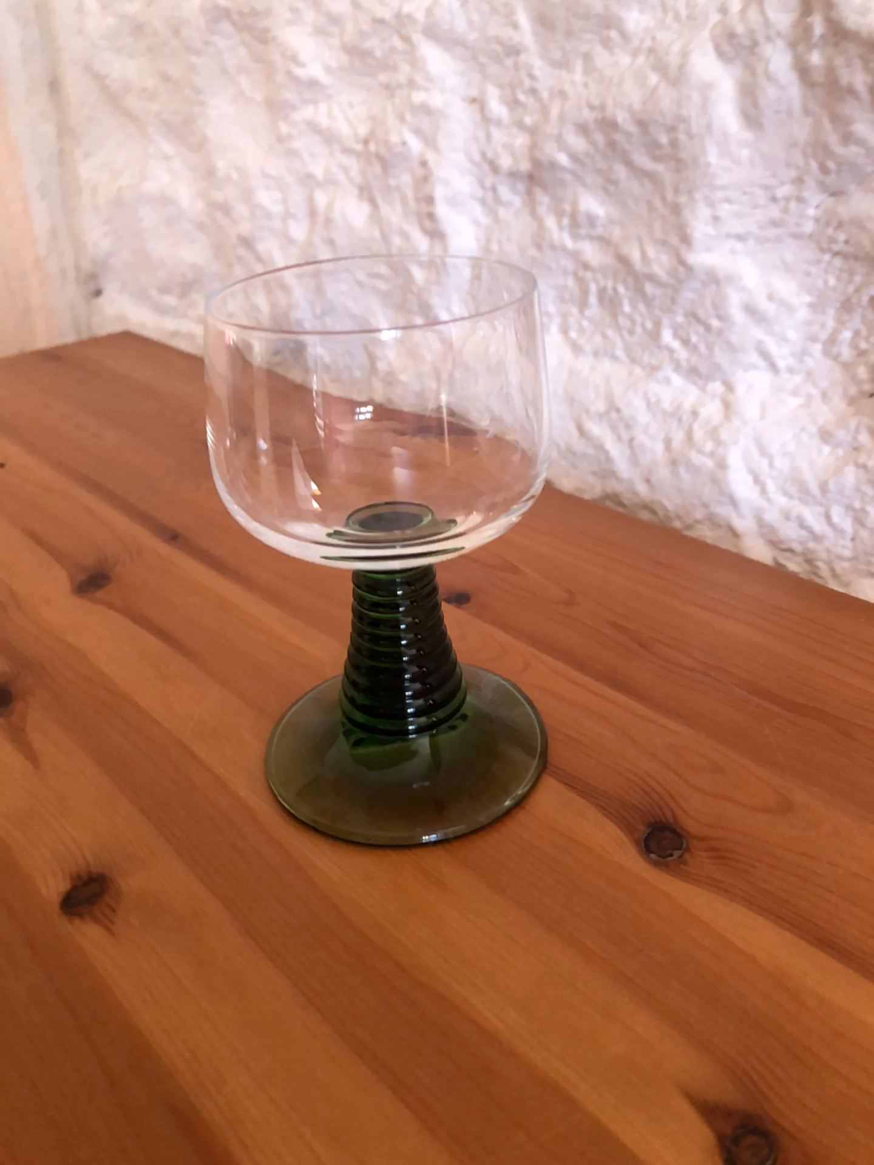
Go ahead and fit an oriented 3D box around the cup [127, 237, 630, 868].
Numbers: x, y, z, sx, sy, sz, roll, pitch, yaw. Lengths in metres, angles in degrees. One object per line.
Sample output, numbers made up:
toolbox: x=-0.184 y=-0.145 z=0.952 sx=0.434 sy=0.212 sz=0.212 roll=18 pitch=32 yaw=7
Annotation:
cup: x=-0.005 y=-0.008 z=0.200 sx=0.074 sy=0.106 sz=0.074 roll=-2 pitch=29 yaw=1
